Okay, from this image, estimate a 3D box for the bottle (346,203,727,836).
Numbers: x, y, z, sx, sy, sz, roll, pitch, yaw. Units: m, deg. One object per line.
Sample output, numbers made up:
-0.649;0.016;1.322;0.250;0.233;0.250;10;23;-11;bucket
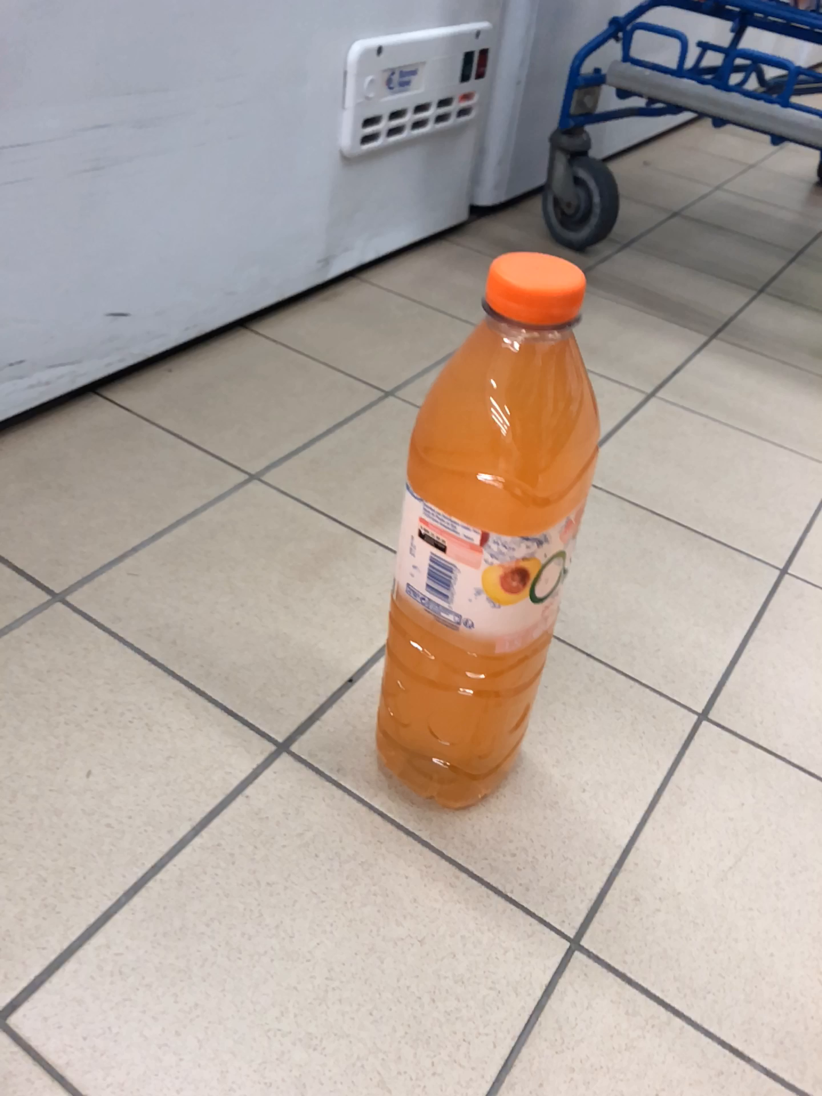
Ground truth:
0.048;-0.001;0.465;0.100;0.298;0.101;6;38;-4;bottle
